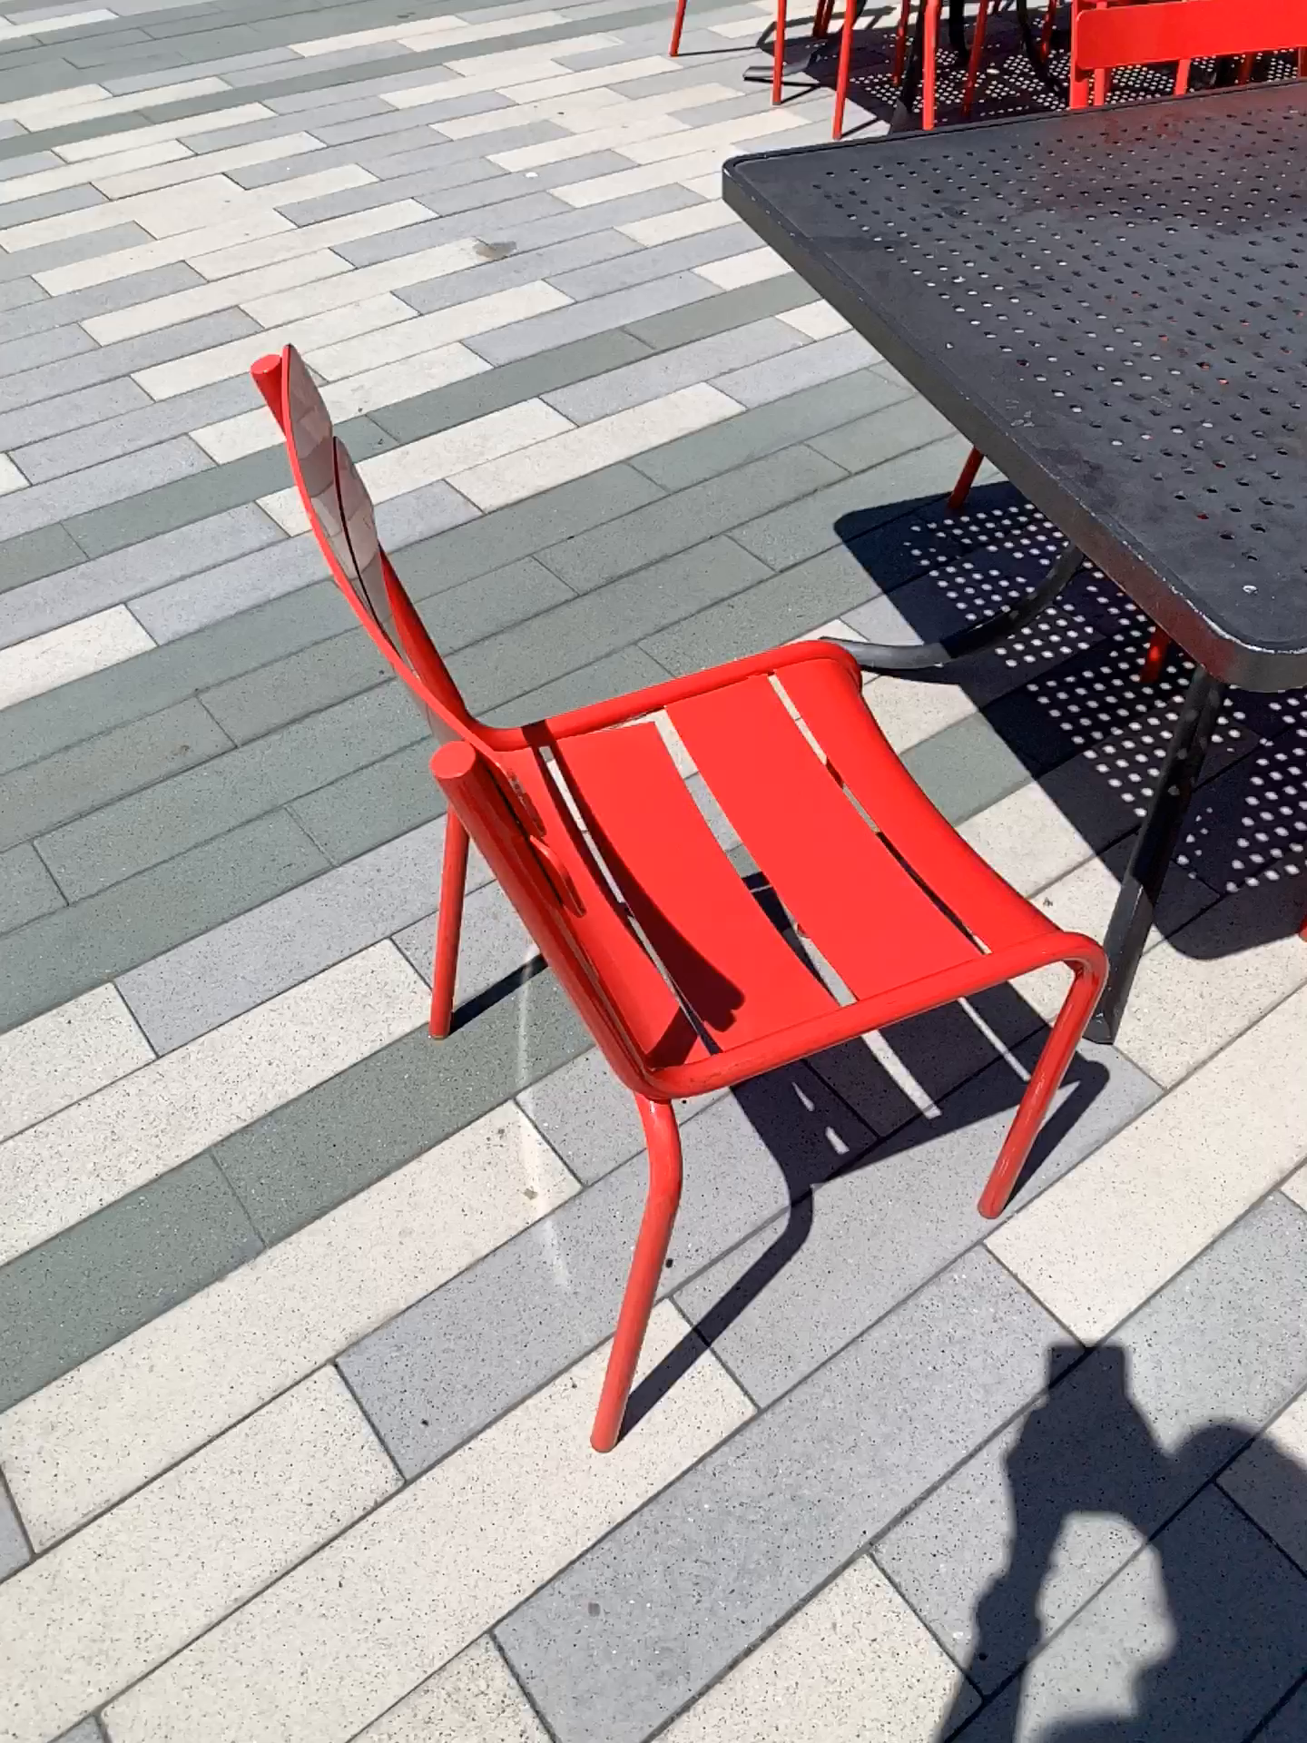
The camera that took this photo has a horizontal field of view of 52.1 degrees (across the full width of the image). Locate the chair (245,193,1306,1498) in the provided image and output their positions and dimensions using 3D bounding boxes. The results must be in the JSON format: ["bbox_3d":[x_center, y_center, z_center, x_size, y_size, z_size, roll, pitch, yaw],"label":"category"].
[{"bbox_3d":[0.089,-0.002,1.171,0.580,0.845,0.583,-18,49,-17],"label":"chair"}]
